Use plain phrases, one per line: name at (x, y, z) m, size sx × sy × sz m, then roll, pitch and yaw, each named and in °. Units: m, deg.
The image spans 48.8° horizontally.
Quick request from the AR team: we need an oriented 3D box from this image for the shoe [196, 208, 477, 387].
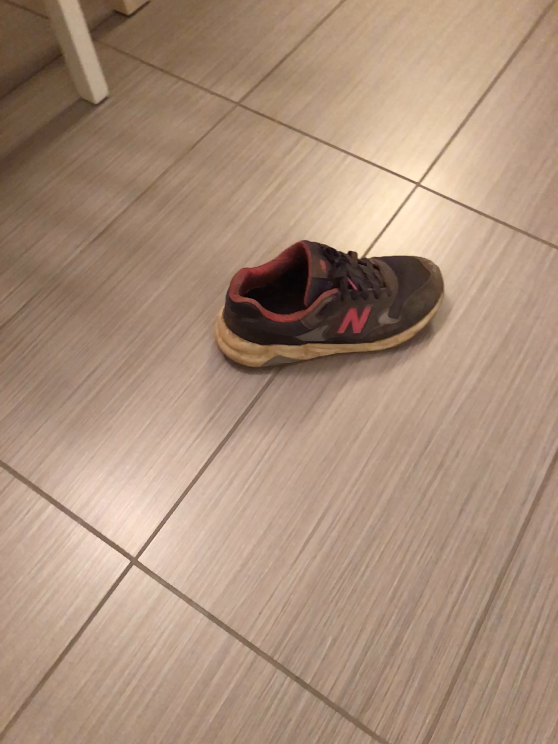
shoe at (0.058, -0.084, 0.673) m, size 0.270 × 0.070 × 0.120 m, roll -14°, pitch 61°, yaw -8°
